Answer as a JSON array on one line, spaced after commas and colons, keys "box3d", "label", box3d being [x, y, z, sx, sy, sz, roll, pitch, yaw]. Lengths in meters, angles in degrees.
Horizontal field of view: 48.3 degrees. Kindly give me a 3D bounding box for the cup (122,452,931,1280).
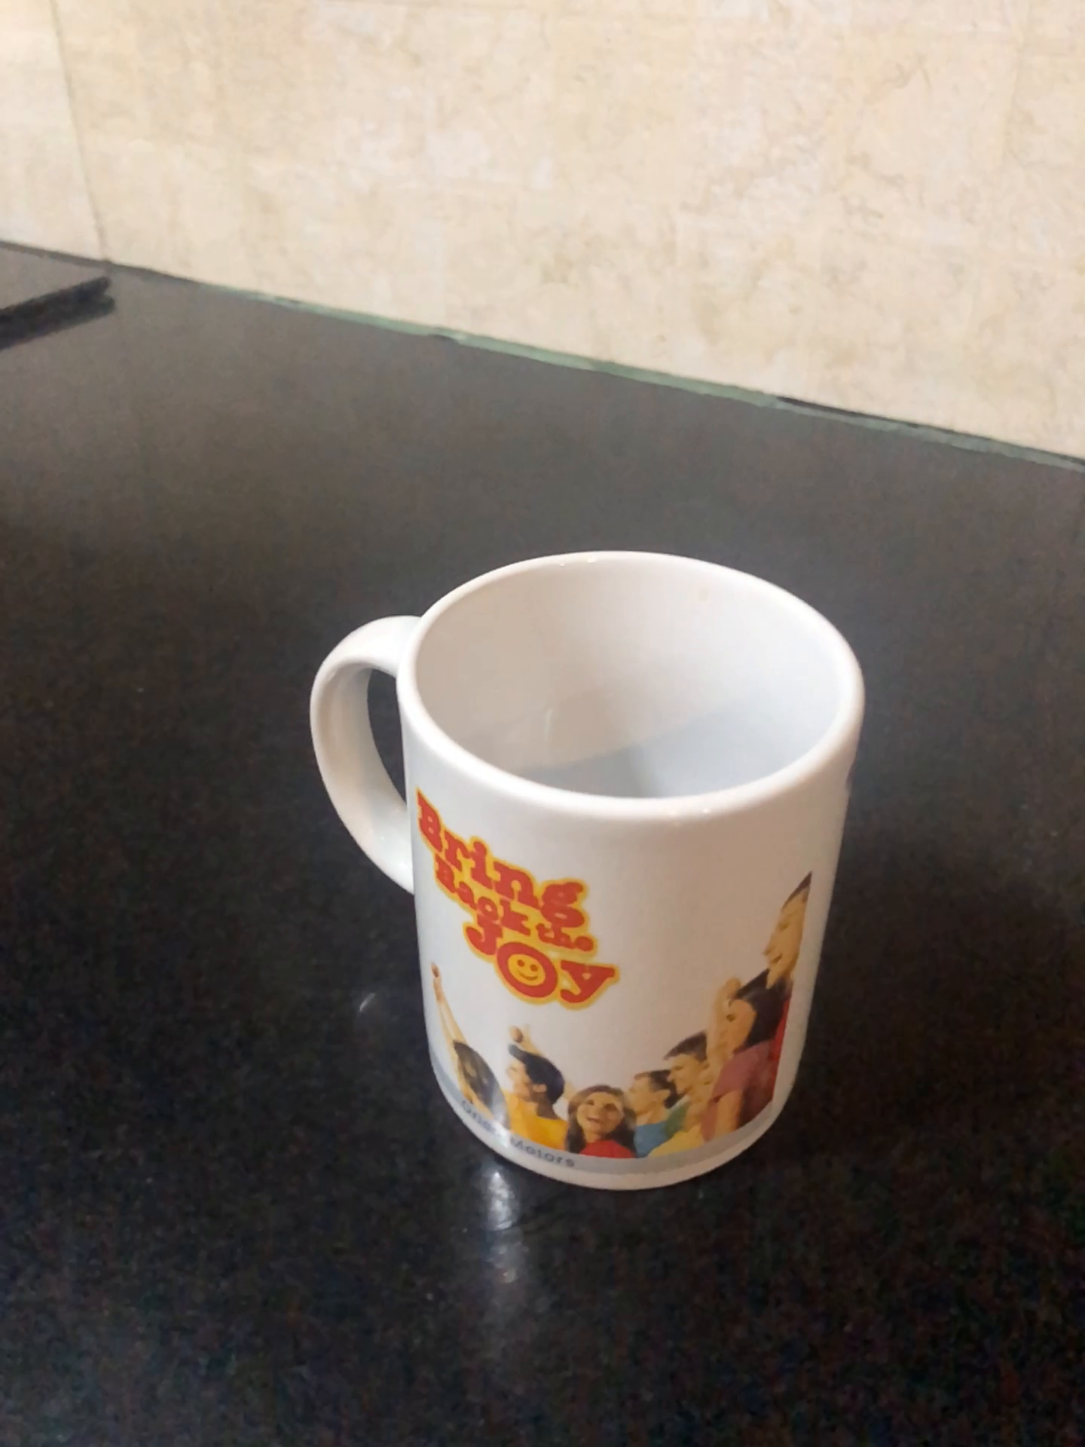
[{"box3d": [-0.004, 0.019, 0.244, 0.120, 0.099, 0.080, 23, 41, 30], "label": "cup"}]
